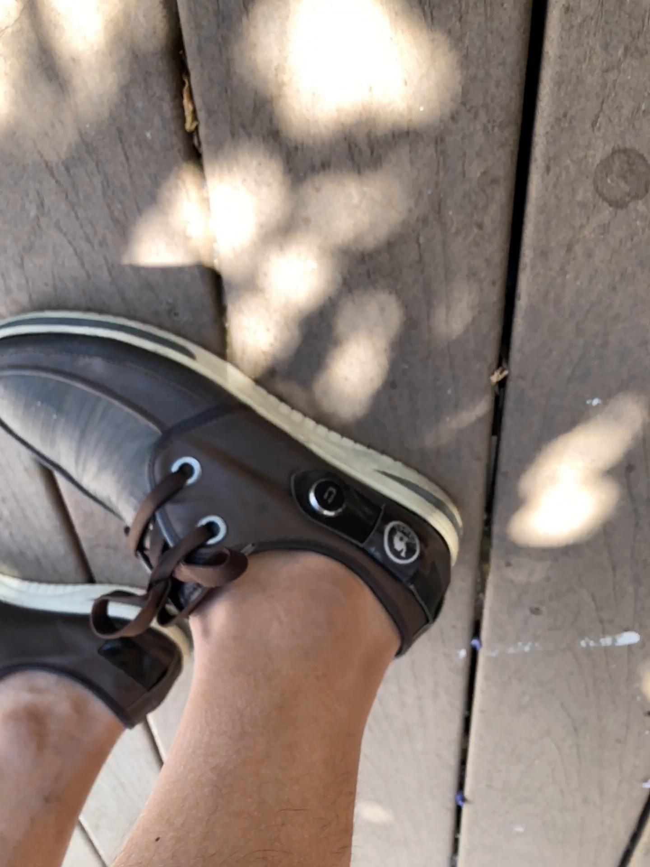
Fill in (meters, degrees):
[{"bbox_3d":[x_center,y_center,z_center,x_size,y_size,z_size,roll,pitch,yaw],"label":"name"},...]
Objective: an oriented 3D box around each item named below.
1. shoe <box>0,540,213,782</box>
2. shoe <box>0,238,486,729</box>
[{"bbox_3d":[-0.238,0.152,0.510,0.283,0.096,0.104,0,127,16],"label":"shoe"},{"bbox_3d":[-0.070,0.029,0.362,0.276,0.089,0.104,27,129,-5],"label":"shoe"}]
